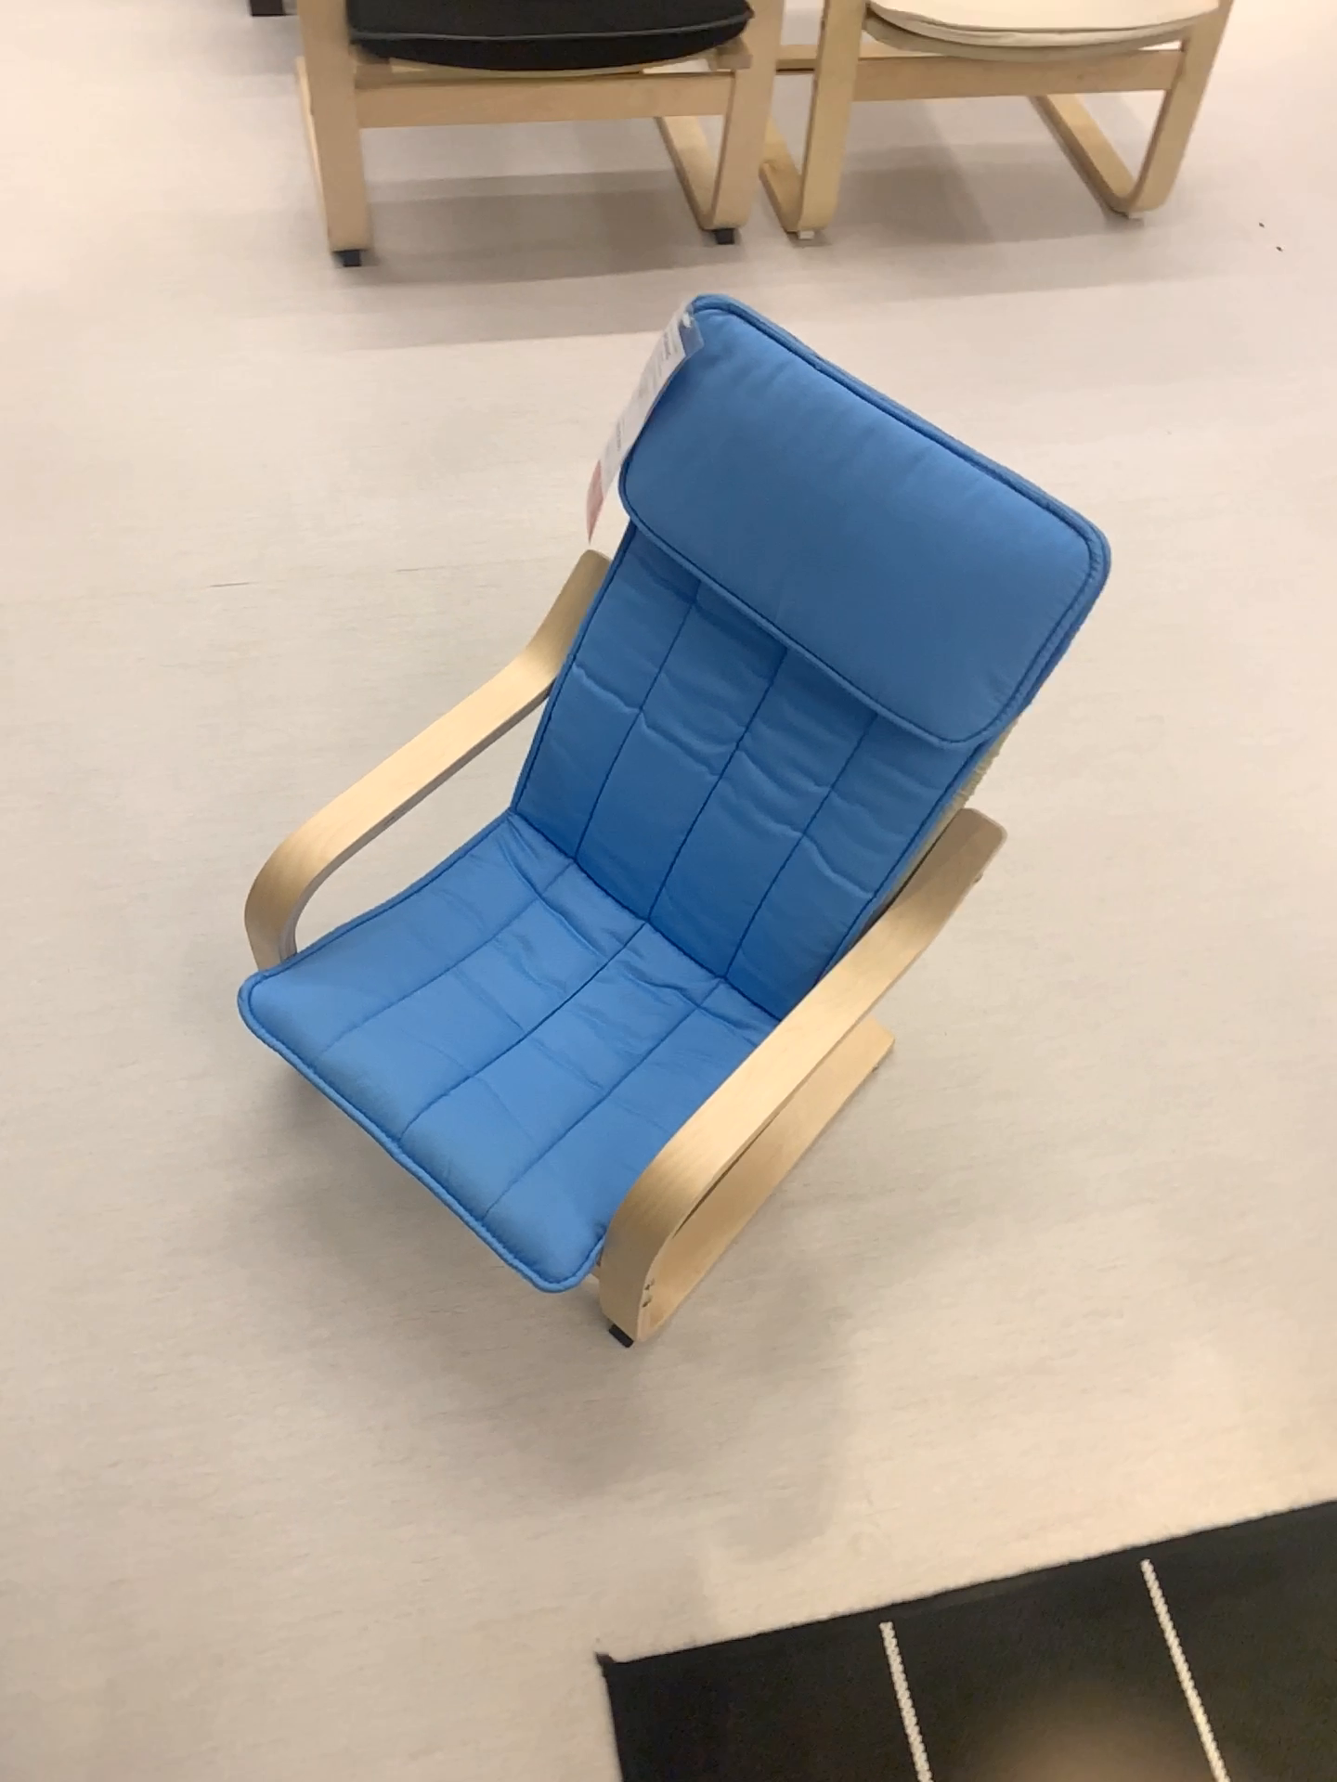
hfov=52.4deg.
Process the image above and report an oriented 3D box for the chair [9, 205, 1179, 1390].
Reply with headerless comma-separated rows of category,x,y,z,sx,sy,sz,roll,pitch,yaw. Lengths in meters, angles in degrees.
chair,-0.057,-0.043,1.097,0.510,0.639,0.501,38,61,17
